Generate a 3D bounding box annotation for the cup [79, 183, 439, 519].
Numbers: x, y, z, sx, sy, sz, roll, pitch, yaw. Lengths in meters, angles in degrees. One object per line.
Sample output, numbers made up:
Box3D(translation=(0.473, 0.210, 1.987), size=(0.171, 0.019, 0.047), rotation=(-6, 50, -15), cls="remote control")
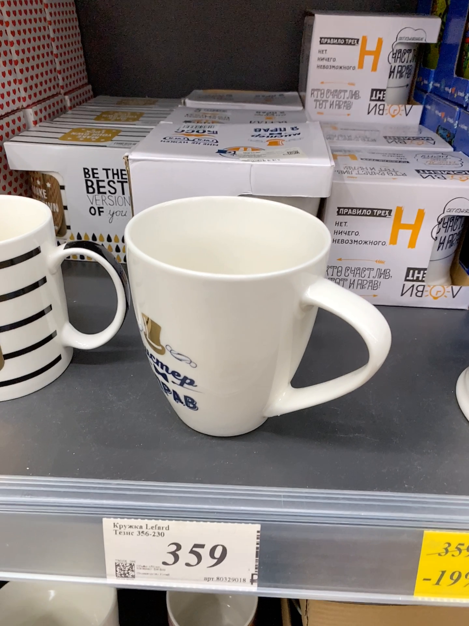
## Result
Box3D(translation=(0.010, 0.005, 0.241), size=(0.132, 0.093, 0.094), rotation=(21, 37, 29), cls="cup")
